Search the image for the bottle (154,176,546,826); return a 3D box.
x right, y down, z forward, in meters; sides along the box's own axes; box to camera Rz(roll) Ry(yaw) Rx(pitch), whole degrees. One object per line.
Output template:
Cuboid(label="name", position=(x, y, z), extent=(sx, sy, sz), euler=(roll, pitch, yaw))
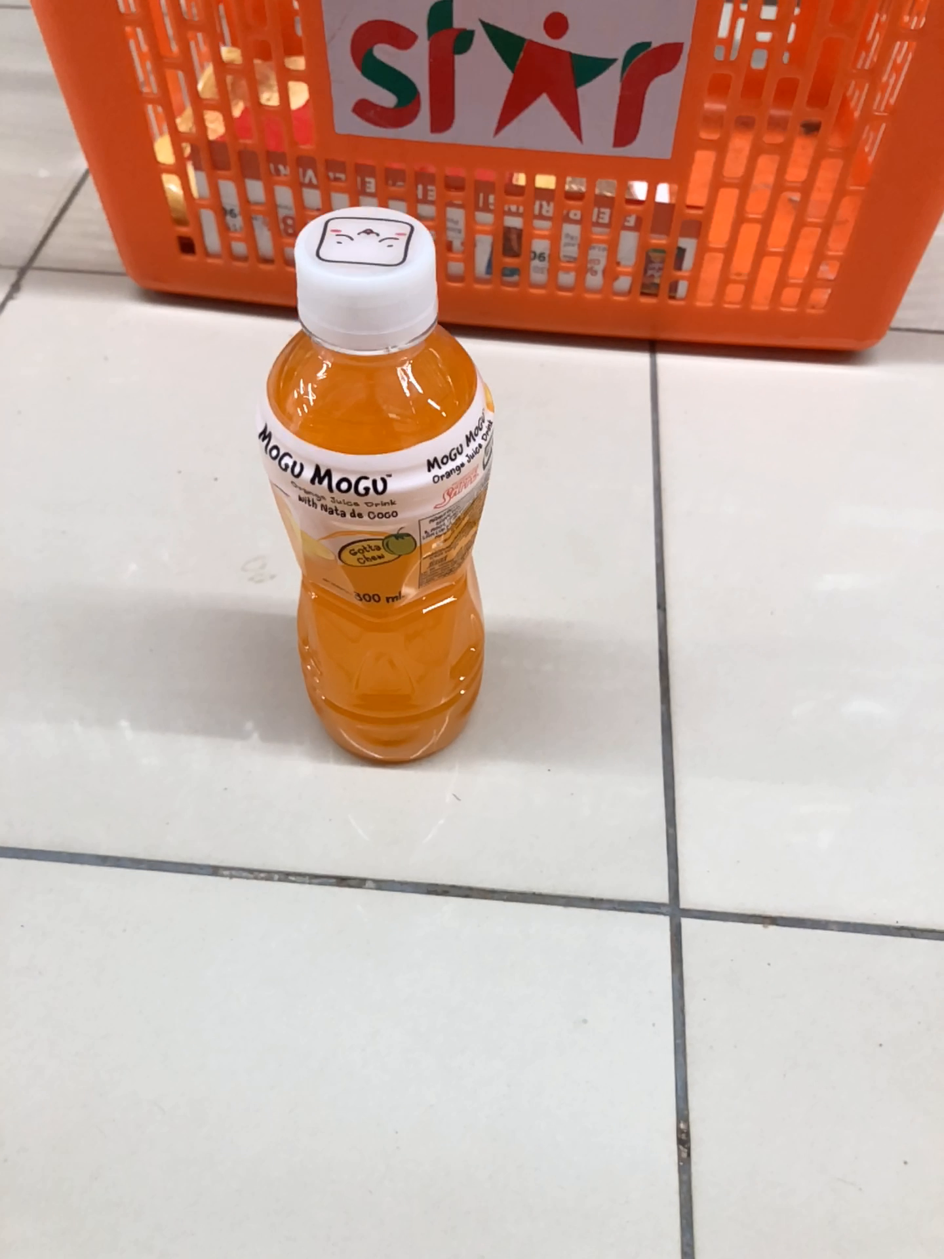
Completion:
Cuboid(label="bottle", position=(-0.025, -0.021, 0.272), extent=(0.060, 0.159, 0.050), euler=(29, 56, 20))
